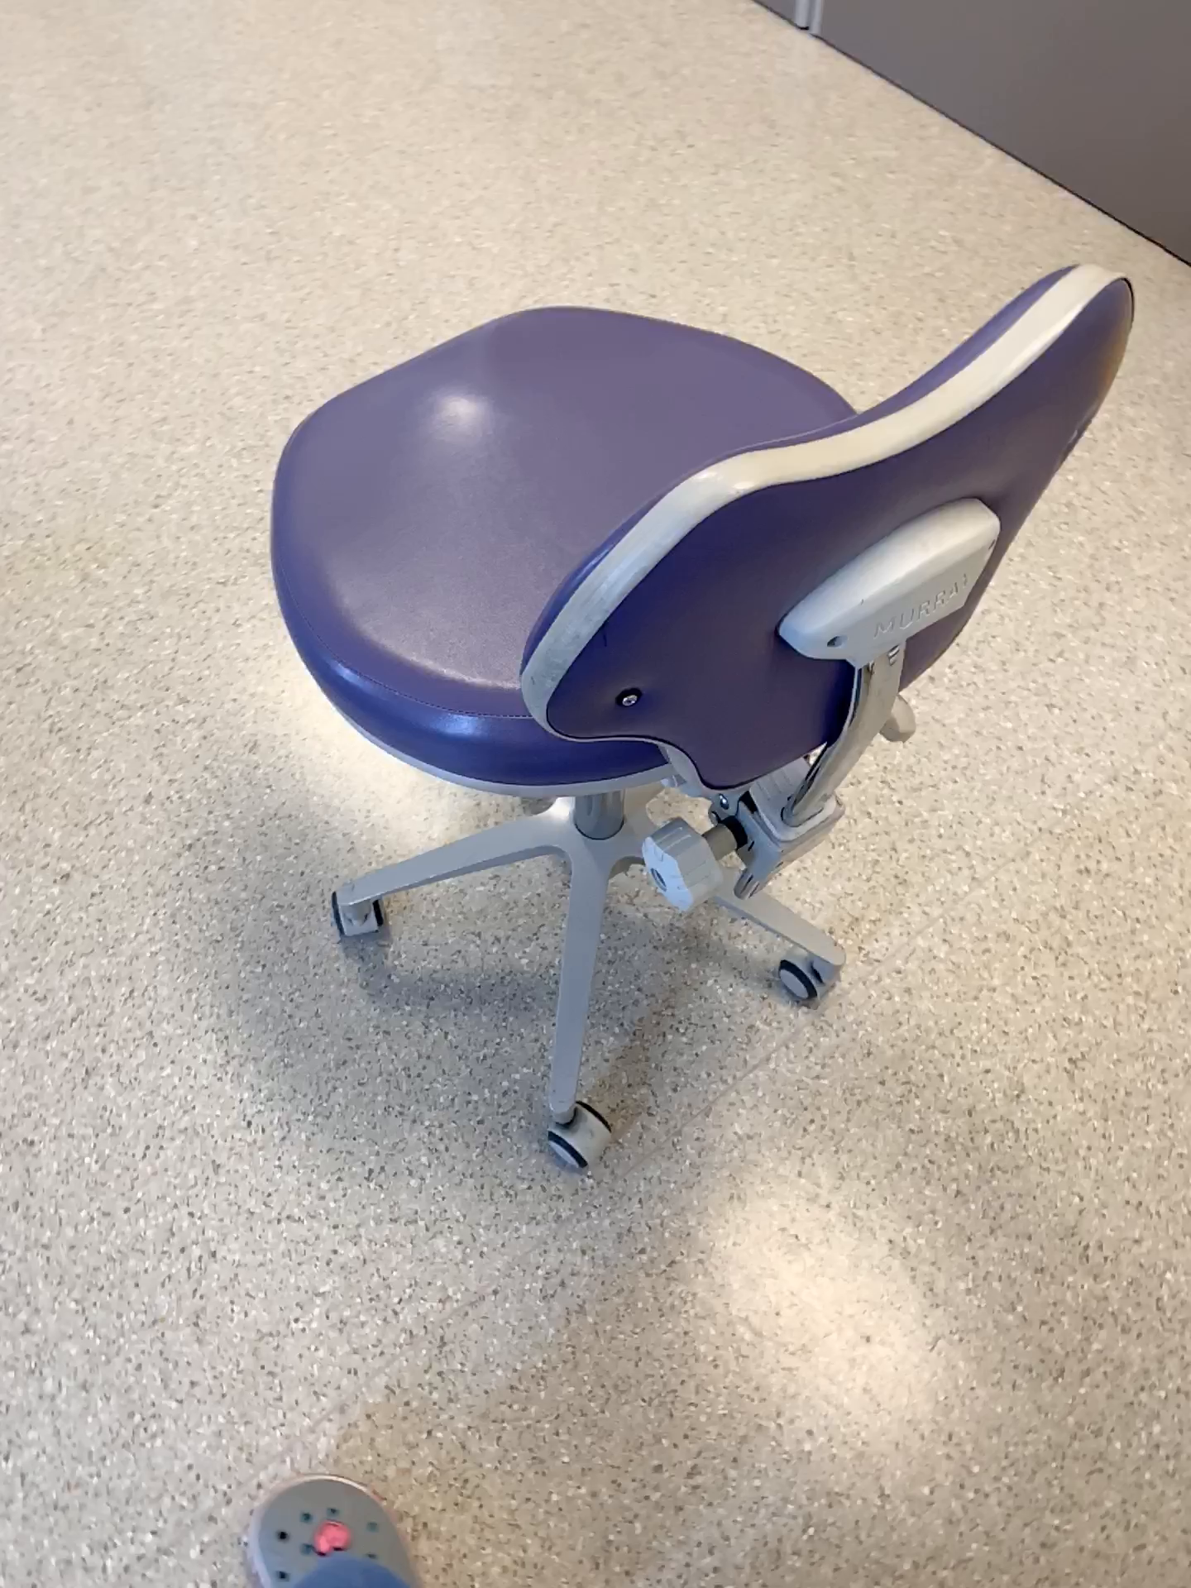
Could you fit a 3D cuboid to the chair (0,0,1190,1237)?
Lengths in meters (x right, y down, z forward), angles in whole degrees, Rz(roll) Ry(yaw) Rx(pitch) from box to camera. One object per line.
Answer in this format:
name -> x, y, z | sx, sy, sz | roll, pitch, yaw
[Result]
chair -> 0.013, -0.202, 0.934 | 0.601, 0.824, 0.653 | -34, 65, -18
